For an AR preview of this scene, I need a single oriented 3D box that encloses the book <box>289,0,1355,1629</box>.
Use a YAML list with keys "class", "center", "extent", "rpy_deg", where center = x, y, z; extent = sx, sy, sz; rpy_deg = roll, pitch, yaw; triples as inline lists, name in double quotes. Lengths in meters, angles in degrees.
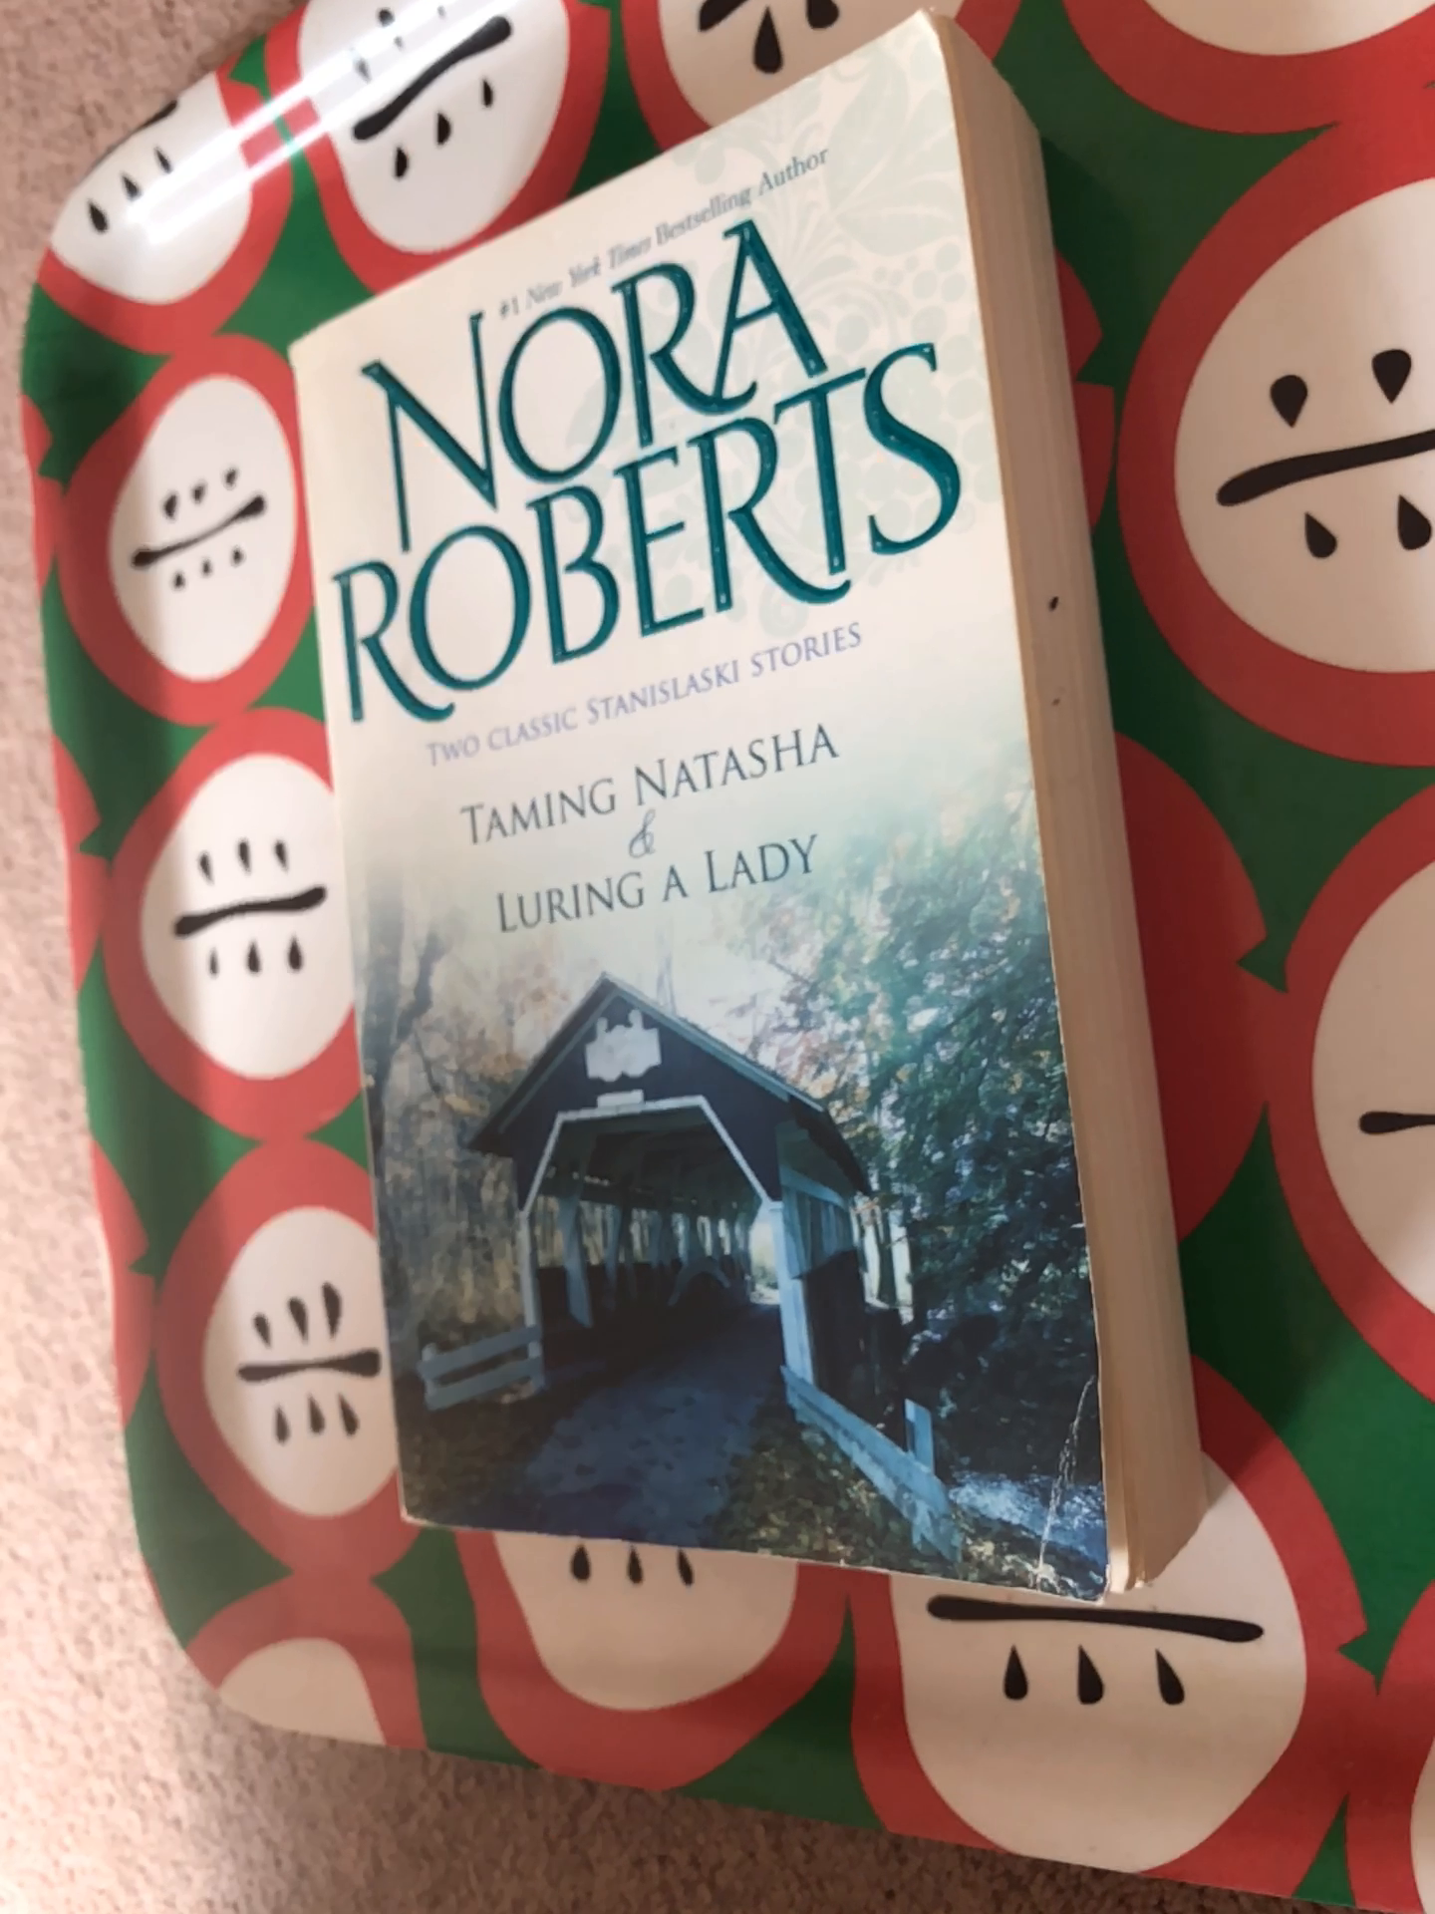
- class: "book"
  center: [0.006, -0.022, 0.251]
  extent: [0.141, 0.040, 0.220]
  rpy_deg: [-9, 86, 35]
